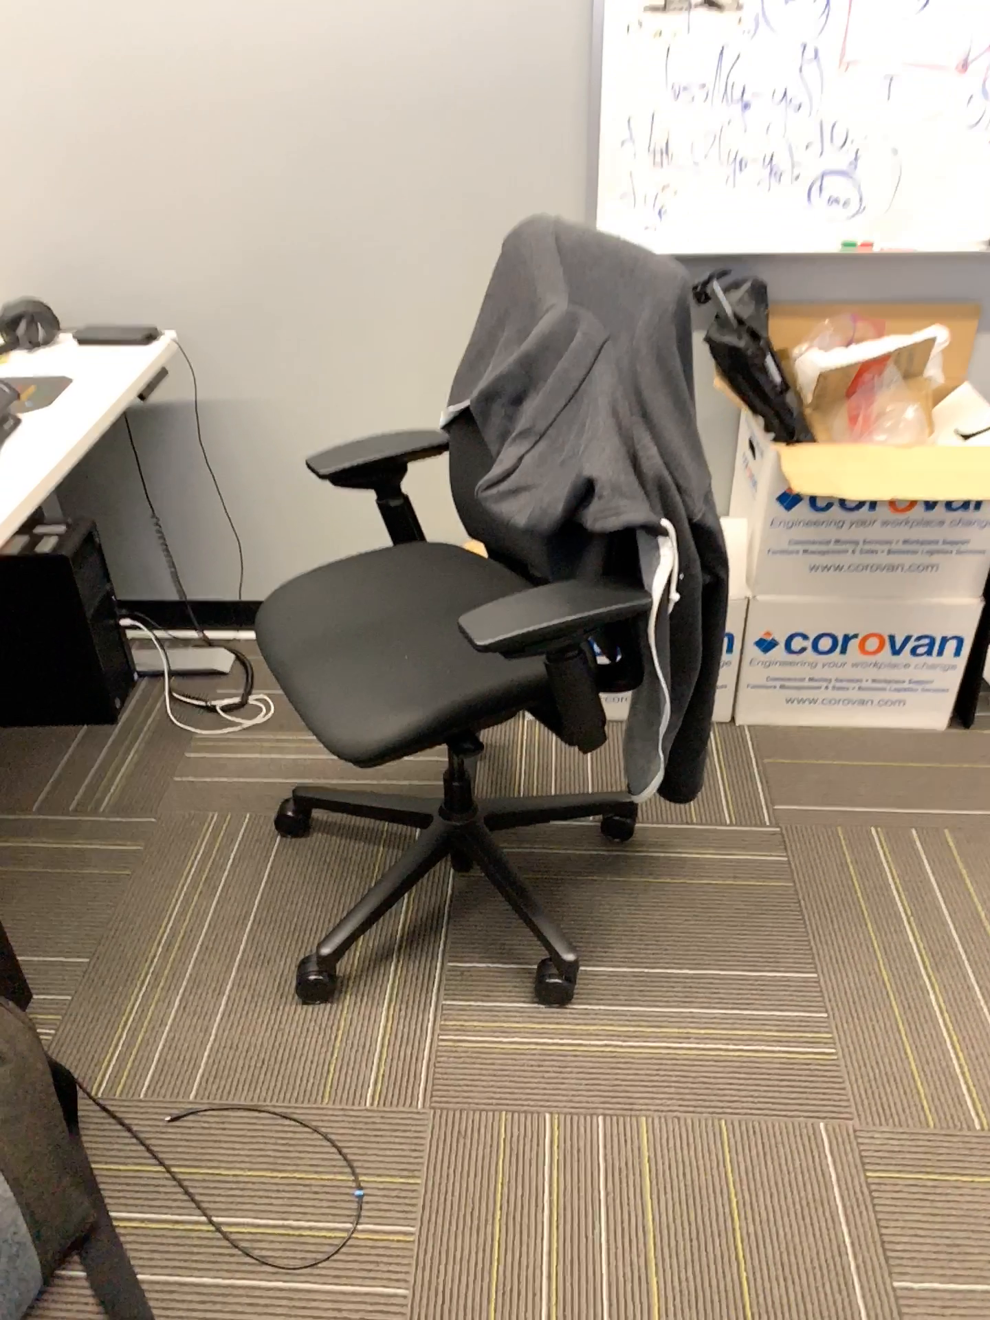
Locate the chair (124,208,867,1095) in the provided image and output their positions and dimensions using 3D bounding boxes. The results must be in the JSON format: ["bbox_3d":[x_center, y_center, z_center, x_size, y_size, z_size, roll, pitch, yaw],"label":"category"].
[{"bbox_3d":[-0.064,-0.067,1.576,0.730,0.994,0.775,-13,36,-16],"label":"chair"}]
